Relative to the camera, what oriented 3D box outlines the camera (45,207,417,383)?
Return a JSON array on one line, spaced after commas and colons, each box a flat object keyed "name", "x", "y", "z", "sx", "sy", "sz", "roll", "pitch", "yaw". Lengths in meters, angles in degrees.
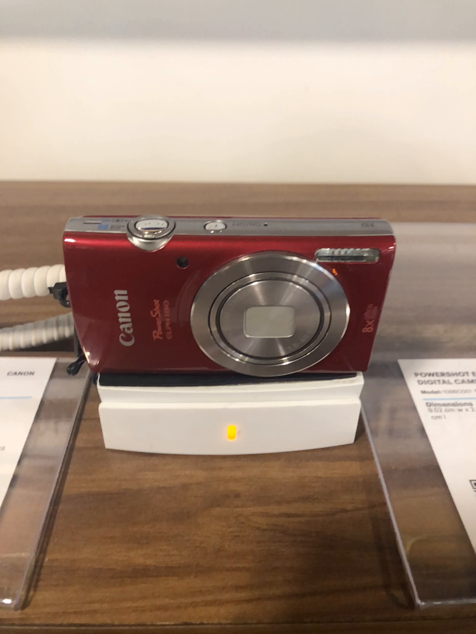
[{"name": "camera", "x": -0.002, "y": -0.005, "z": 0.165, "sx": 0.097, "sy": 0.051, "sz": 0.023, "roll": 0, "pitch": 42, "yaw": -1}]
